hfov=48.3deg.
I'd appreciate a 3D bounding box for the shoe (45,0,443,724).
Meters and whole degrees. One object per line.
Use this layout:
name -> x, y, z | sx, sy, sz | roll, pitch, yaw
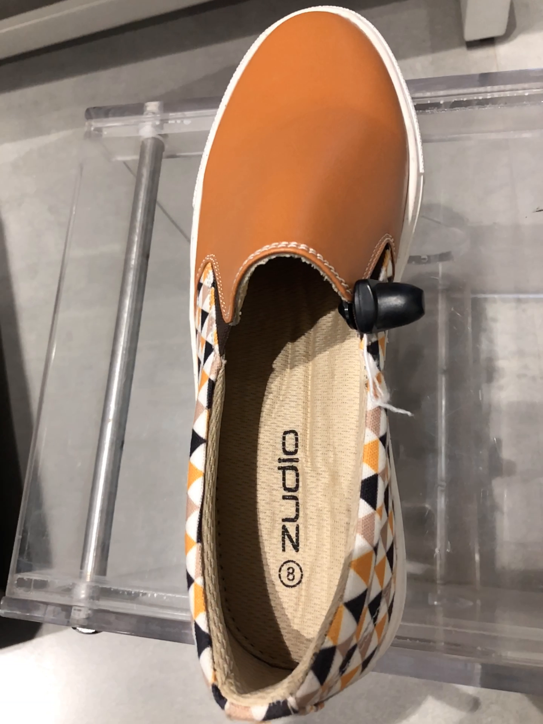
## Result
shoe -> 0.007, -0.020, 0.243 | 0.110, 0.100, 0.290 | -1, 75, 14
